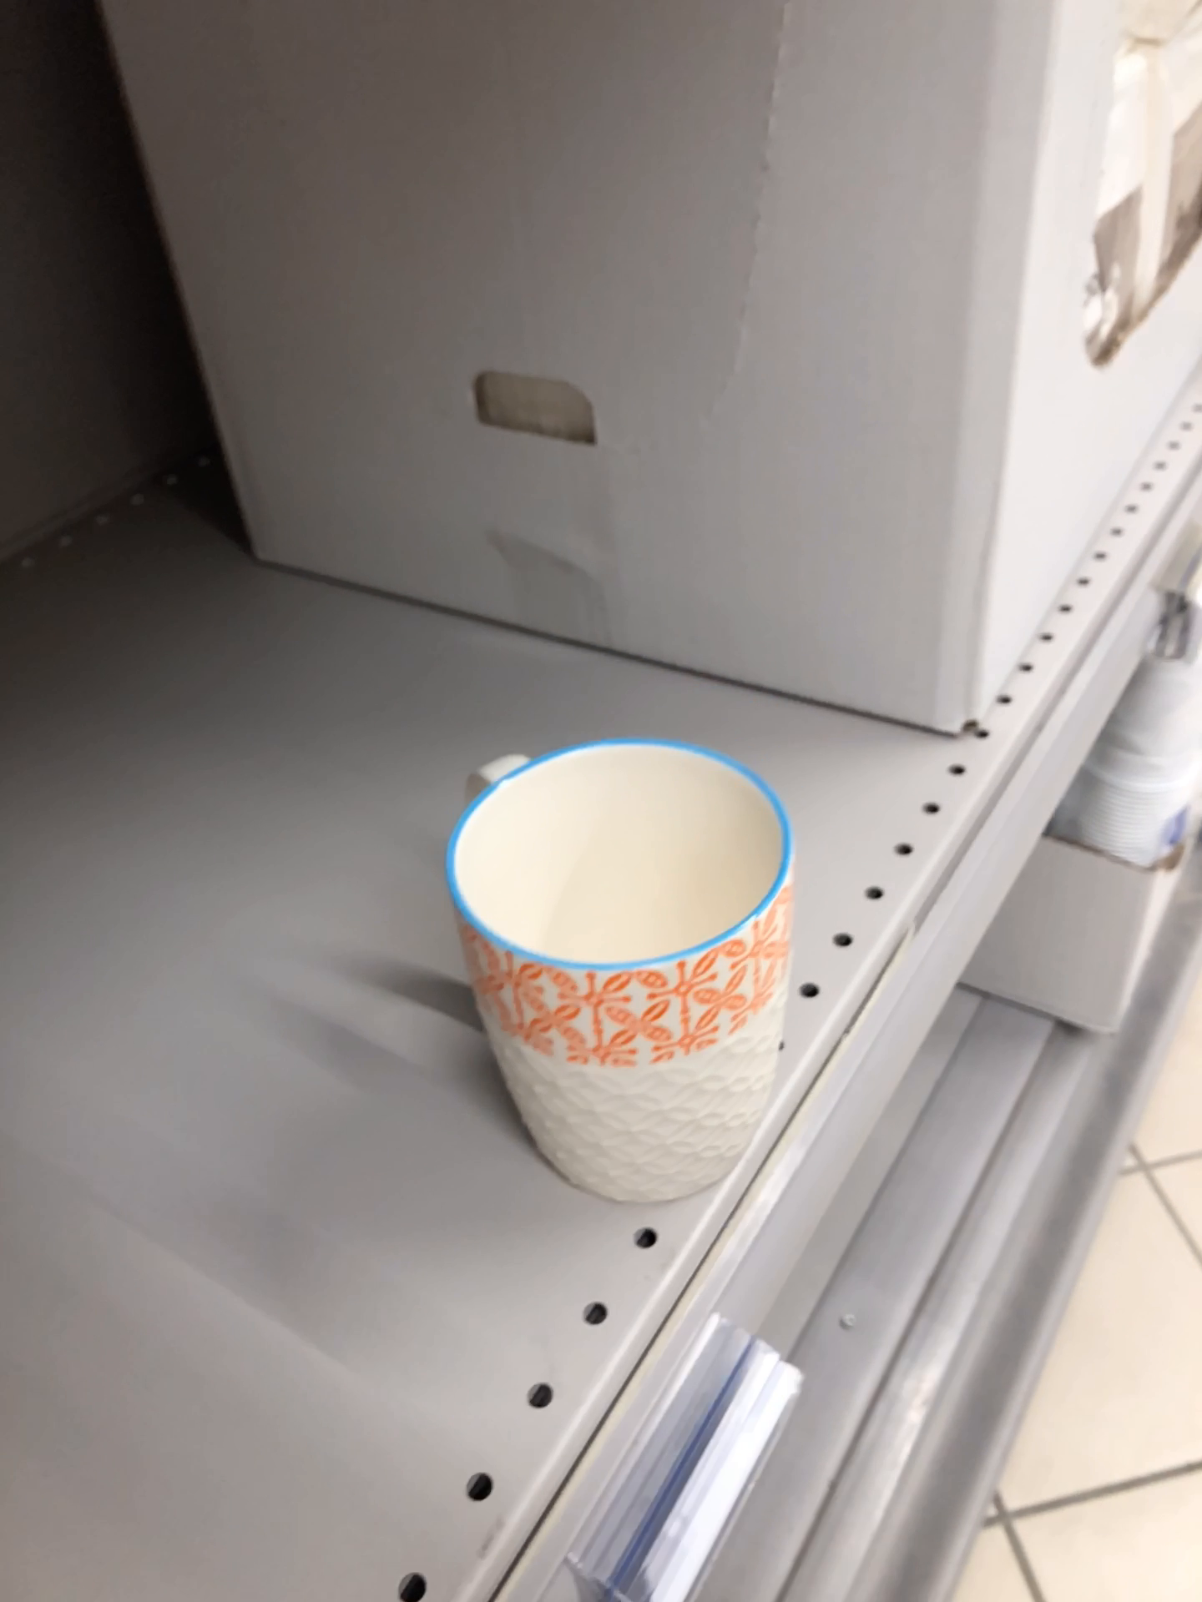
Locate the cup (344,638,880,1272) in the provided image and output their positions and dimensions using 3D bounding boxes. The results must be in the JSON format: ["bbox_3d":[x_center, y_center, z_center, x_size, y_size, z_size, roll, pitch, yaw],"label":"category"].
[{"bbox_3d":[0.001,0.036,0.368,0.091,0.095,0.117,-21,41,-19],"label":"cup"}]
